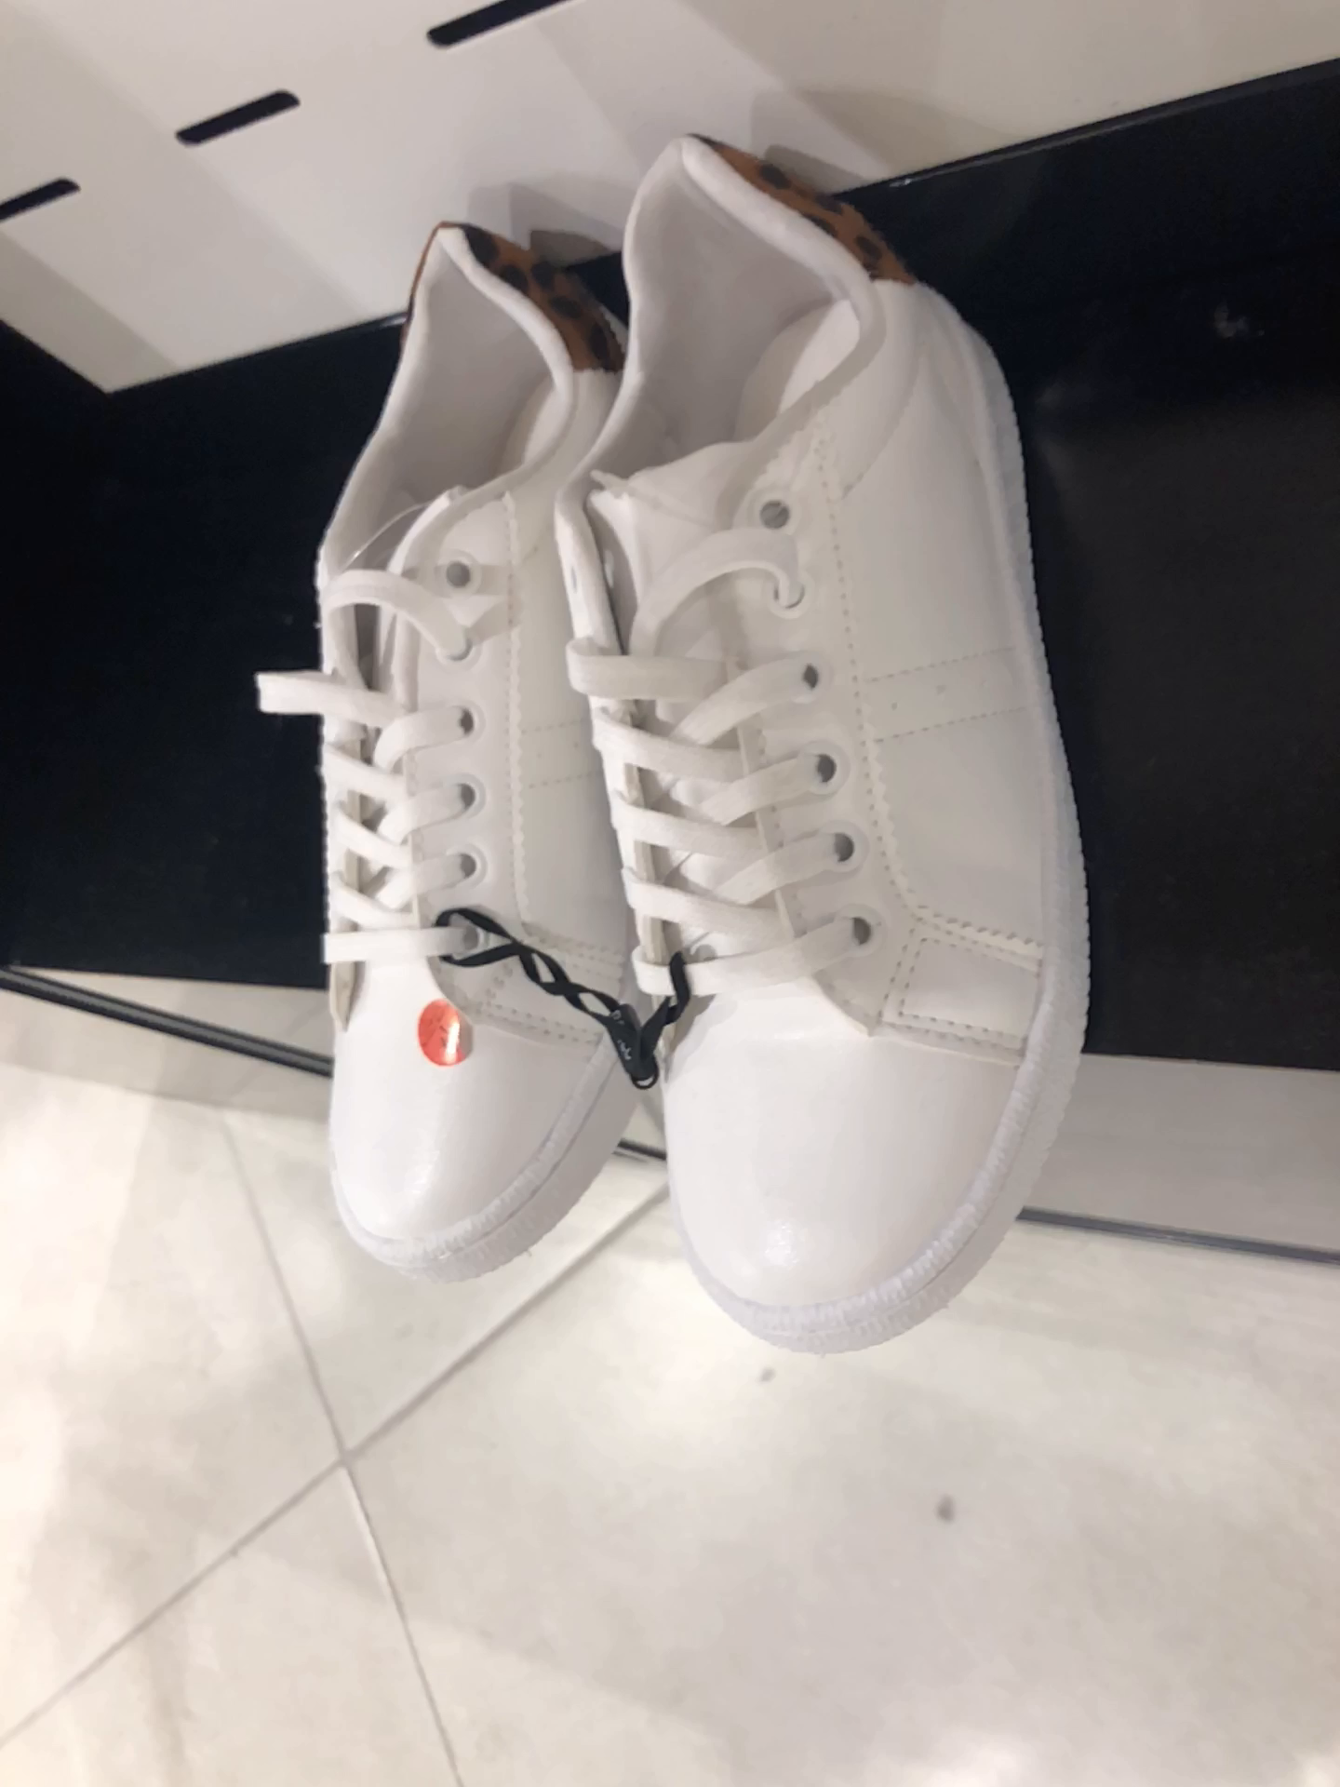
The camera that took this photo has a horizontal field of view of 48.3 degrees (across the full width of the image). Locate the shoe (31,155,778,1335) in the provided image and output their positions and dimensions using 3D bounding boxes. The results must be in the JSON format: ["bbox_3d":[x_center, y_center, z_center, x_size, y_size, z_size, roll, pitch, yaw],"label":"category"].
[{"bbox_3d":[-0.049,-0.023,0.331,0.090,0.100,0.220,-2,76,33],"label":"shoe"}]

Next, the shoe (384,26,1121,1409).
[{"bbox_3d":[0.021,-0.023,0.287,0.090,0.100,0.220,-8,73,32],"label":"shoe"}]
